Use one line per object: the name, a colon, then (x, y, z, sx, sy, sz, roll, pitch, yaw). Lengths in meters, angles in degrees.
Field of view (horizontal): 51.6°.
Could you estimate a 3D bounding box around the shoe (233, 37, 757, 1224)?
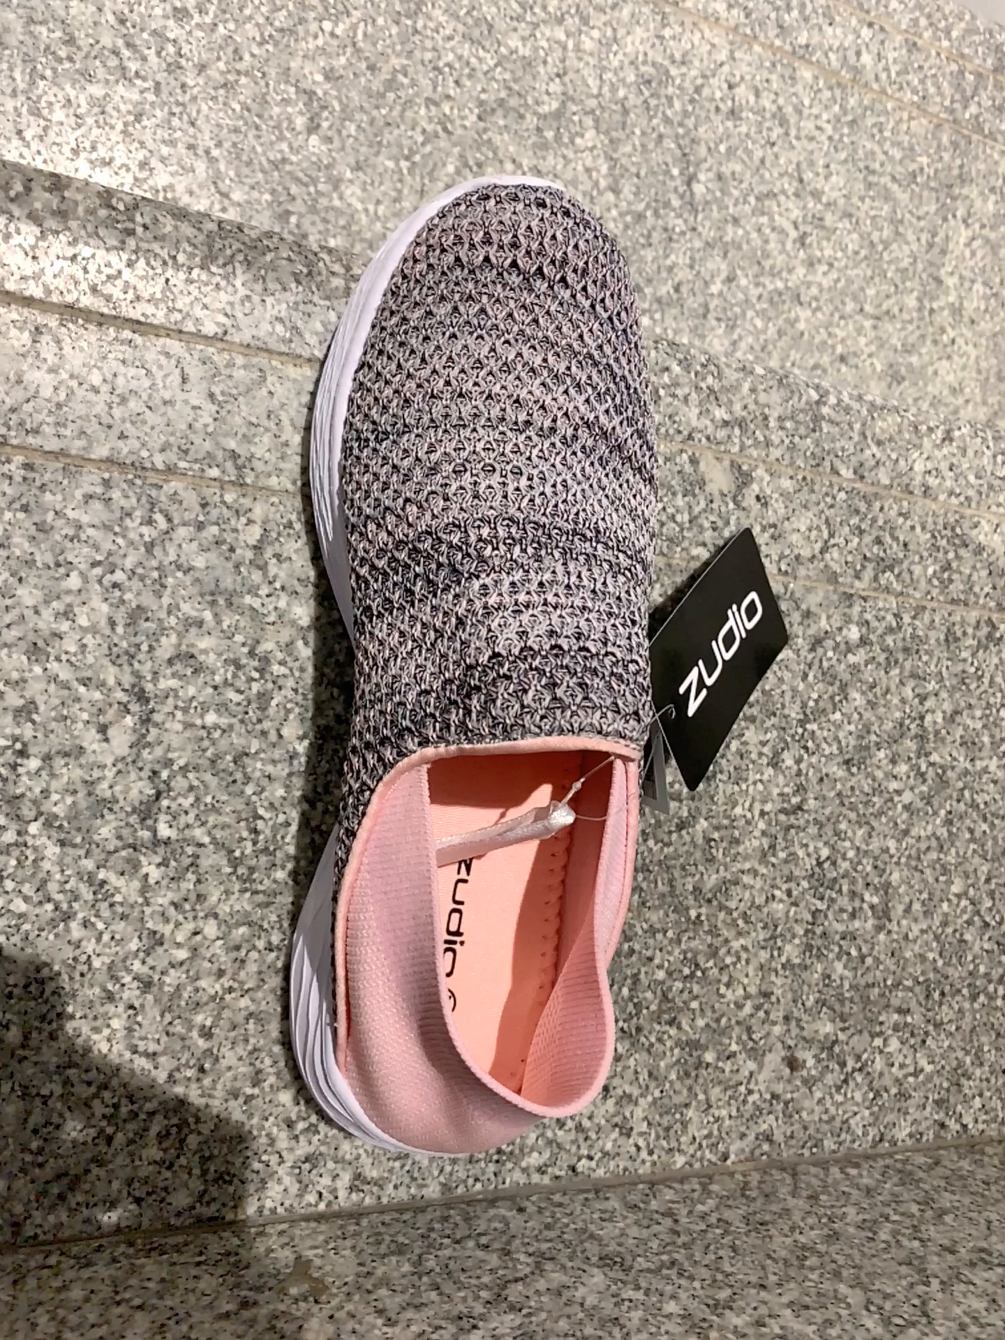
shoe: (-0.007, -0.005, 0.273, 0.090, 0.080, 0.250, 4, 93, -25)
